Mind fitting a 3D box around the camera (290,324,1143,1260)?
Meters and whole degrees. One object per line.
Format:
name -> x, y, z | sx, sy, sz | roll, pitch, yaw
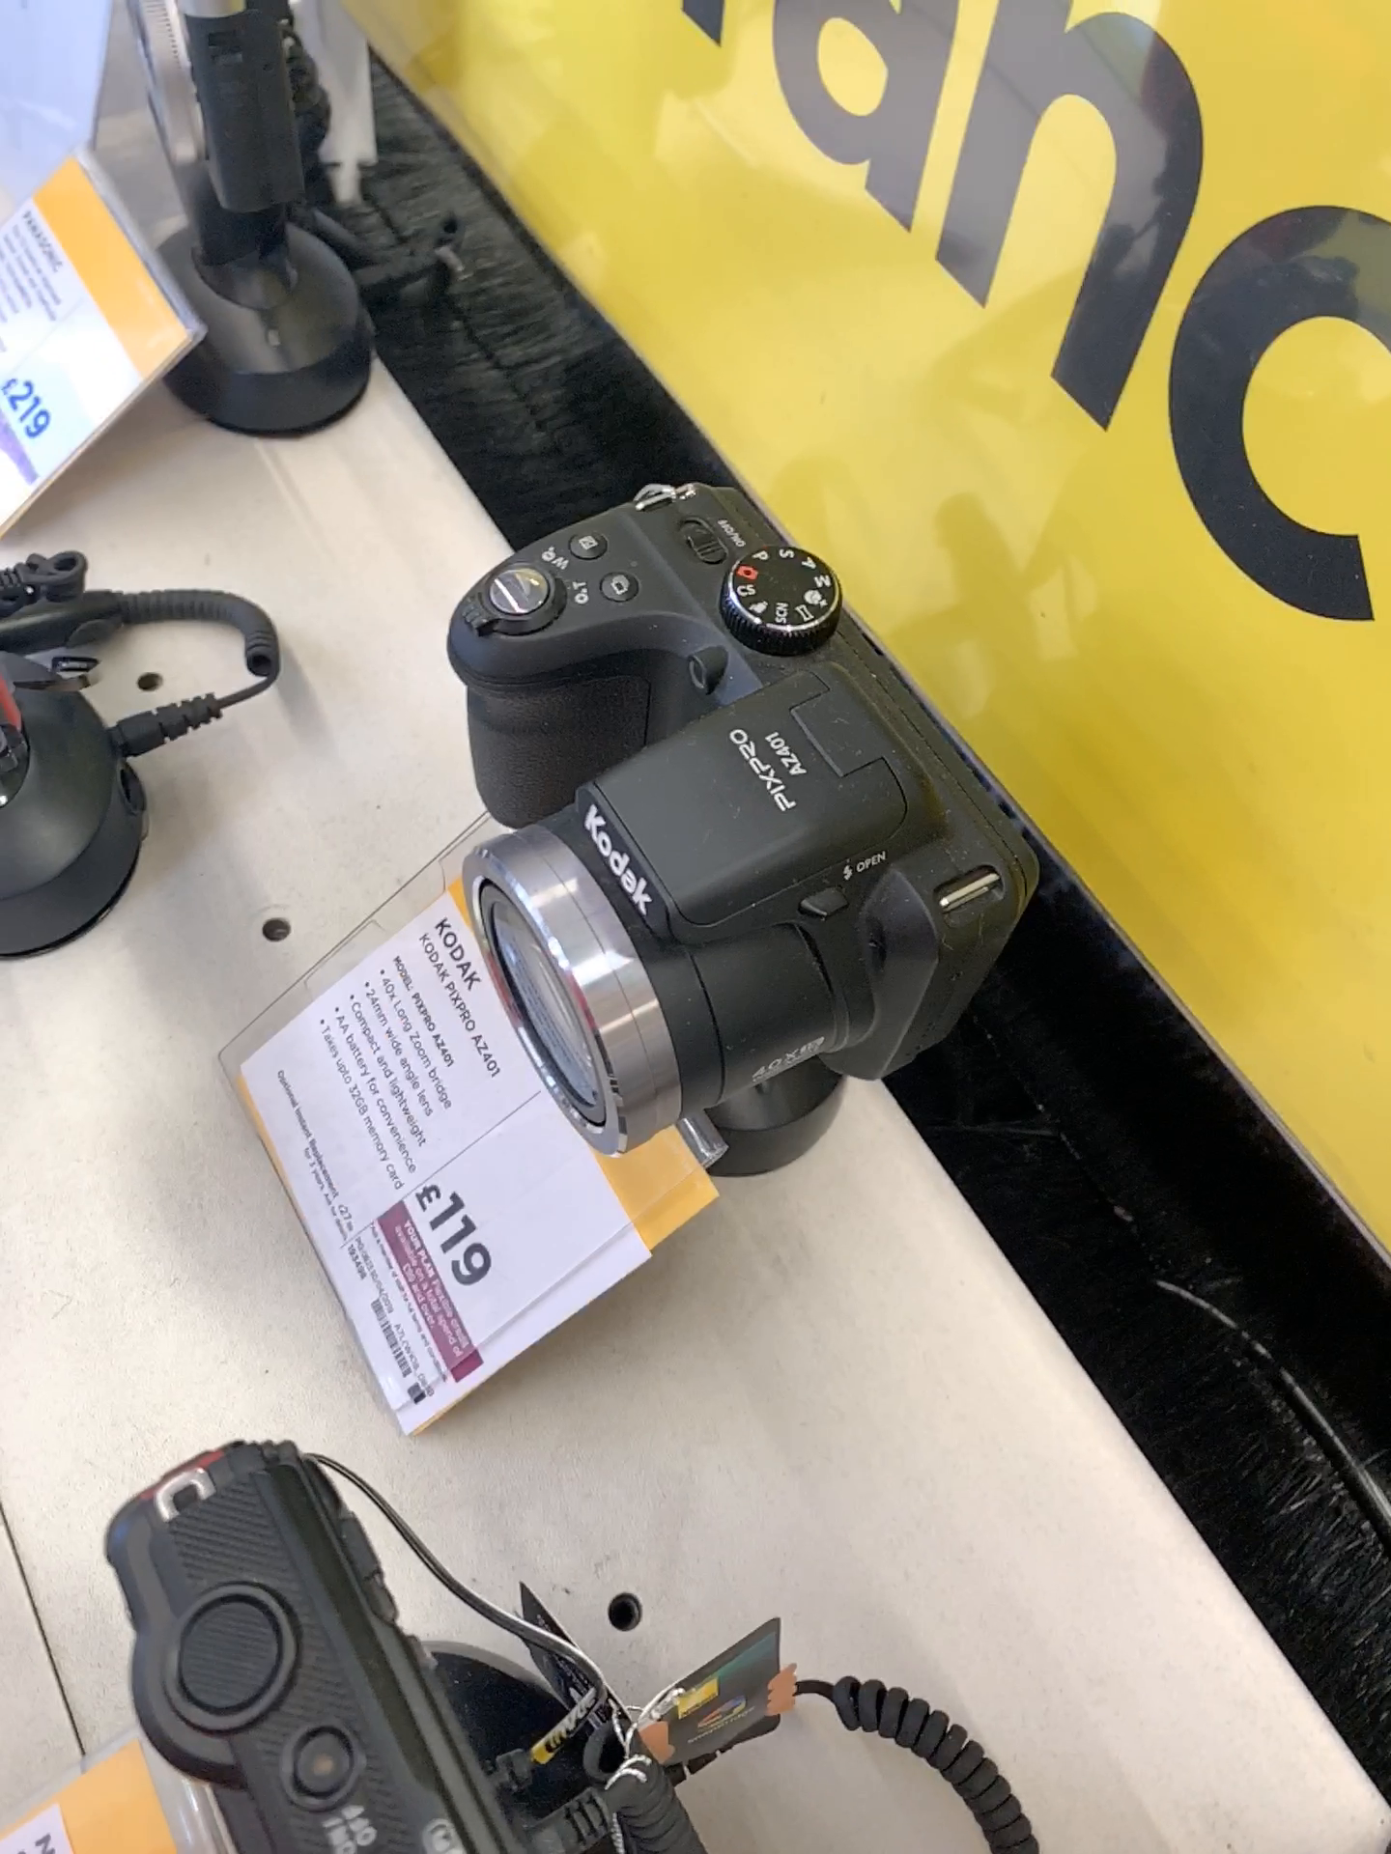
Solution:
camera -> -0.004, -0.027, 0.287 | 0.090, 0.099, 0.131 | -26, 65, -20
